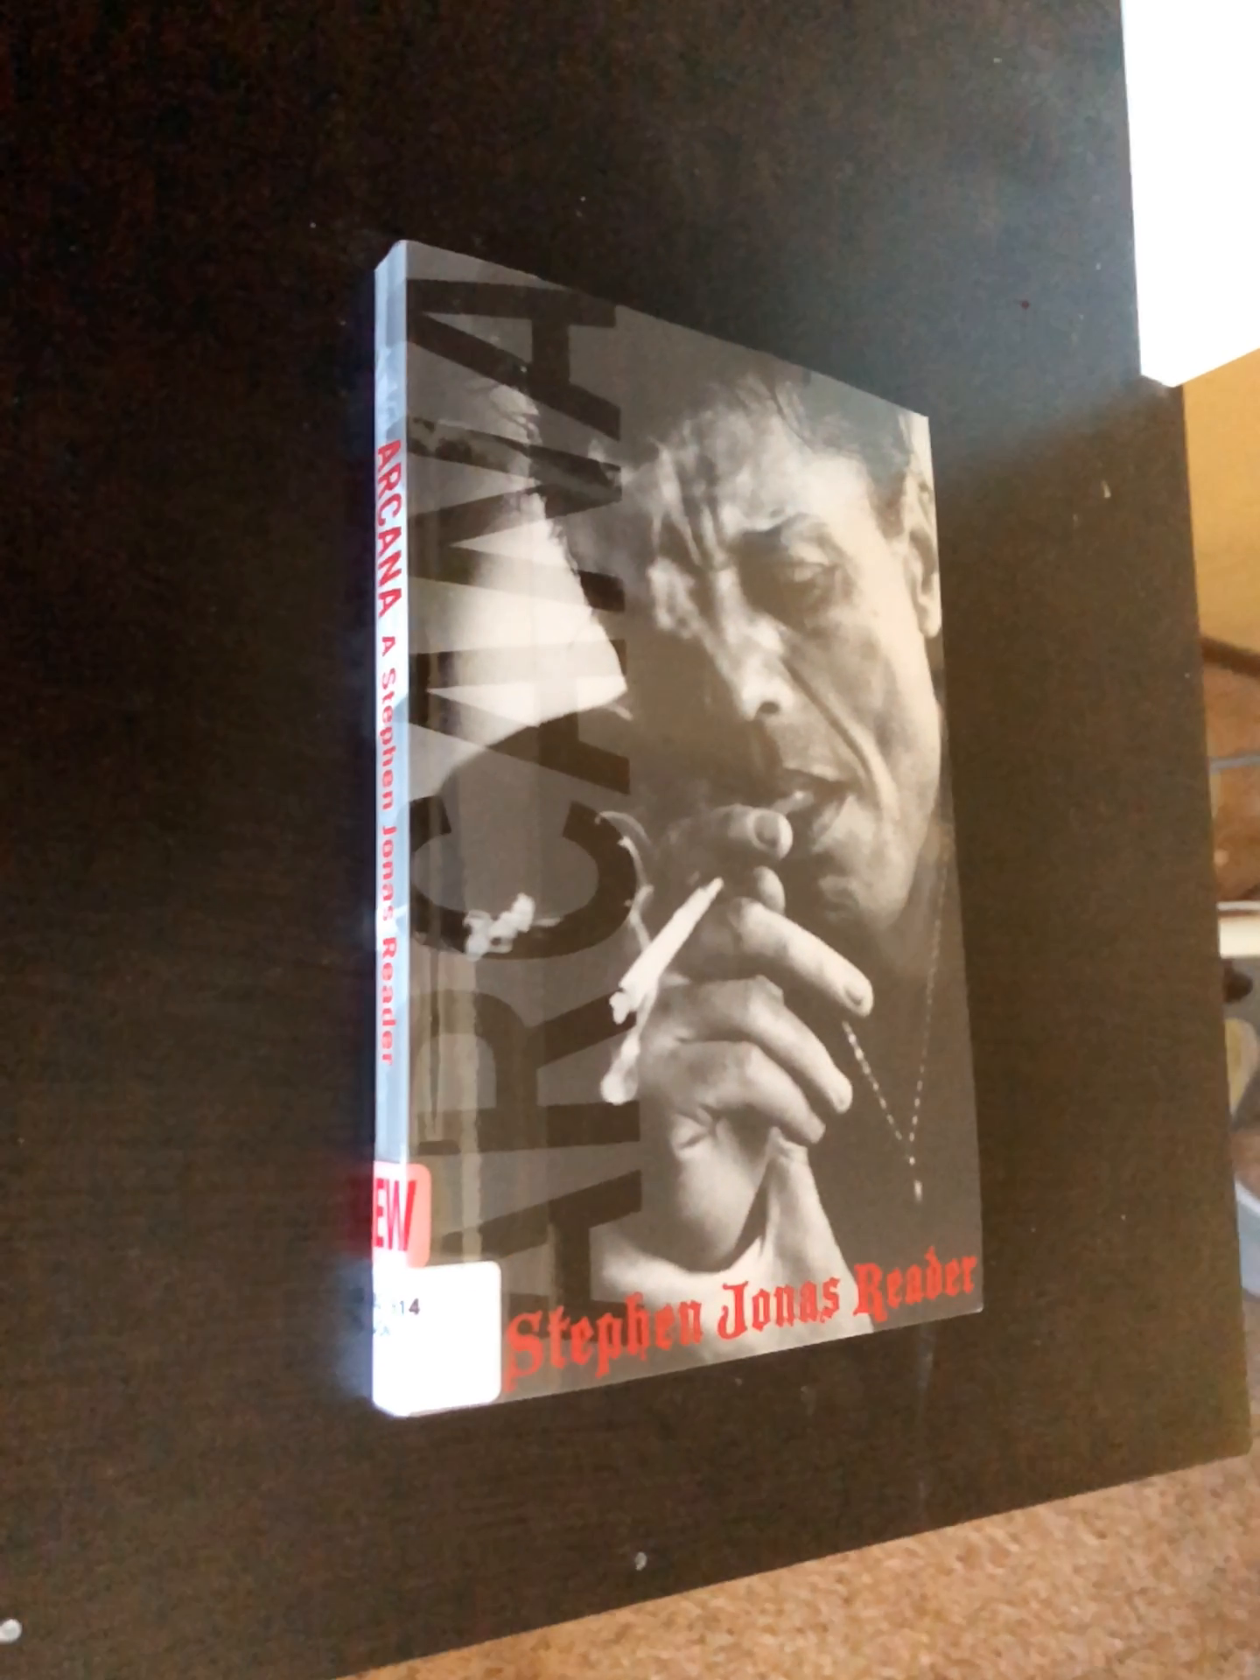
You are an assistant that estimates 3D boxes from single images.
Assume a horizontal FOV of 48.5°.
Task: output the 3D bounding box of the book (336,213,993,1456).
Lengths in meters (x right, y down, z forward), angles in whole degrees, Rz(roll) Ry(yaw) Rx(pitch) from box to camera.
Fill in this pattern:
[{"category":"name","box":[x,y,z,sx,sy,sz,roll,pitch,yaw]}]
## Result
[{"category":"book","box":[0.016,-0.002,0.352,0.180,0.024,0.260,4,81,-36]}]
